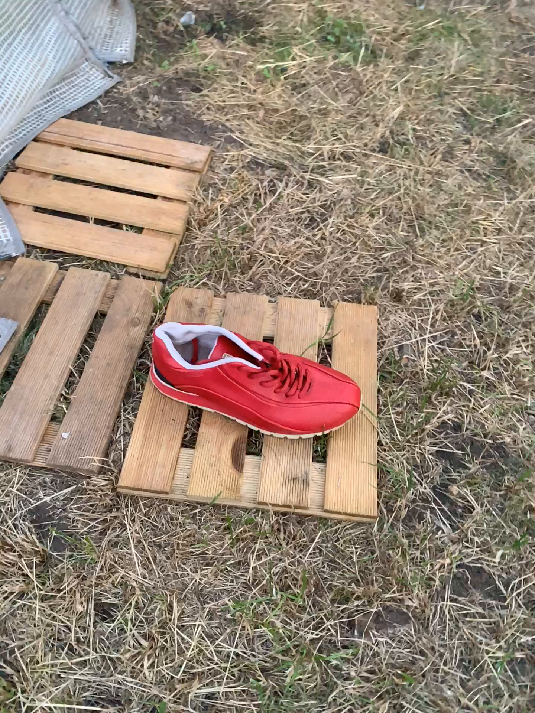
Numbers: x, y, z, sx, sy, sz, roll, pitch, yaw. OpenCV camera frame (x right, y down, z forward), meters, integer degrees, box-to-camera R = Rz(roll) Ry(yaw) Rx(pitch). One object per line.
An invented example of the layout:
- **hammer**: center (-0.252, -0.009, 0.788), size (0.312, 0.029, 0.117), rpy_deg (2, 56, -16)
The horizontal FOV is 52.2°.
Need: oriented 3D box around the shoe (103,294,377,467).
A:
- **shoe**: center (-0.026, 0.028, 0.641), size (0.280, 0.129, 0.101), rpy_deg (10, 57, 12)
